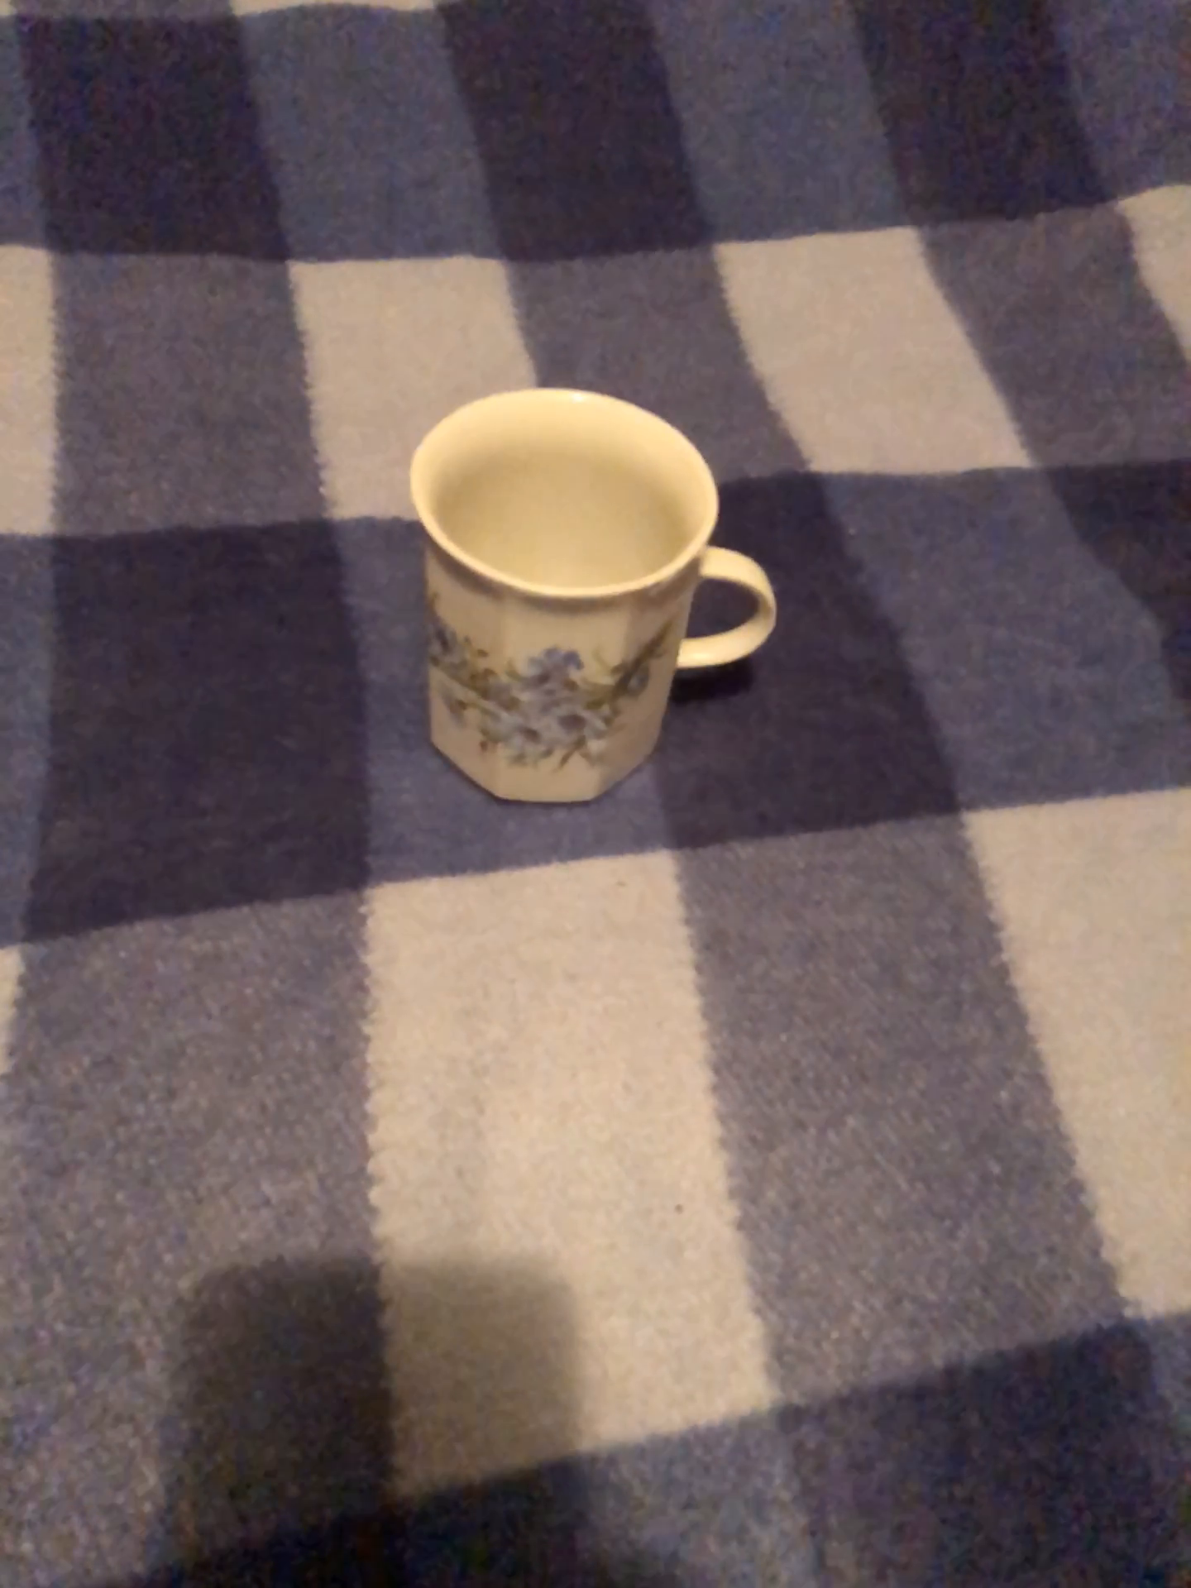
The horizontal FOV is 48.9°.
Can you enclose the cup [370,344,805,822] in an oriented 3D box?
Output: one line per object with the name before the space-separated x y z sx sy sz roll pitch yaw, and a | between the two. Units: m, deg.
cup | -0.003 -0.054 0.355 0.098 0.094 0.077 4 55 -2
